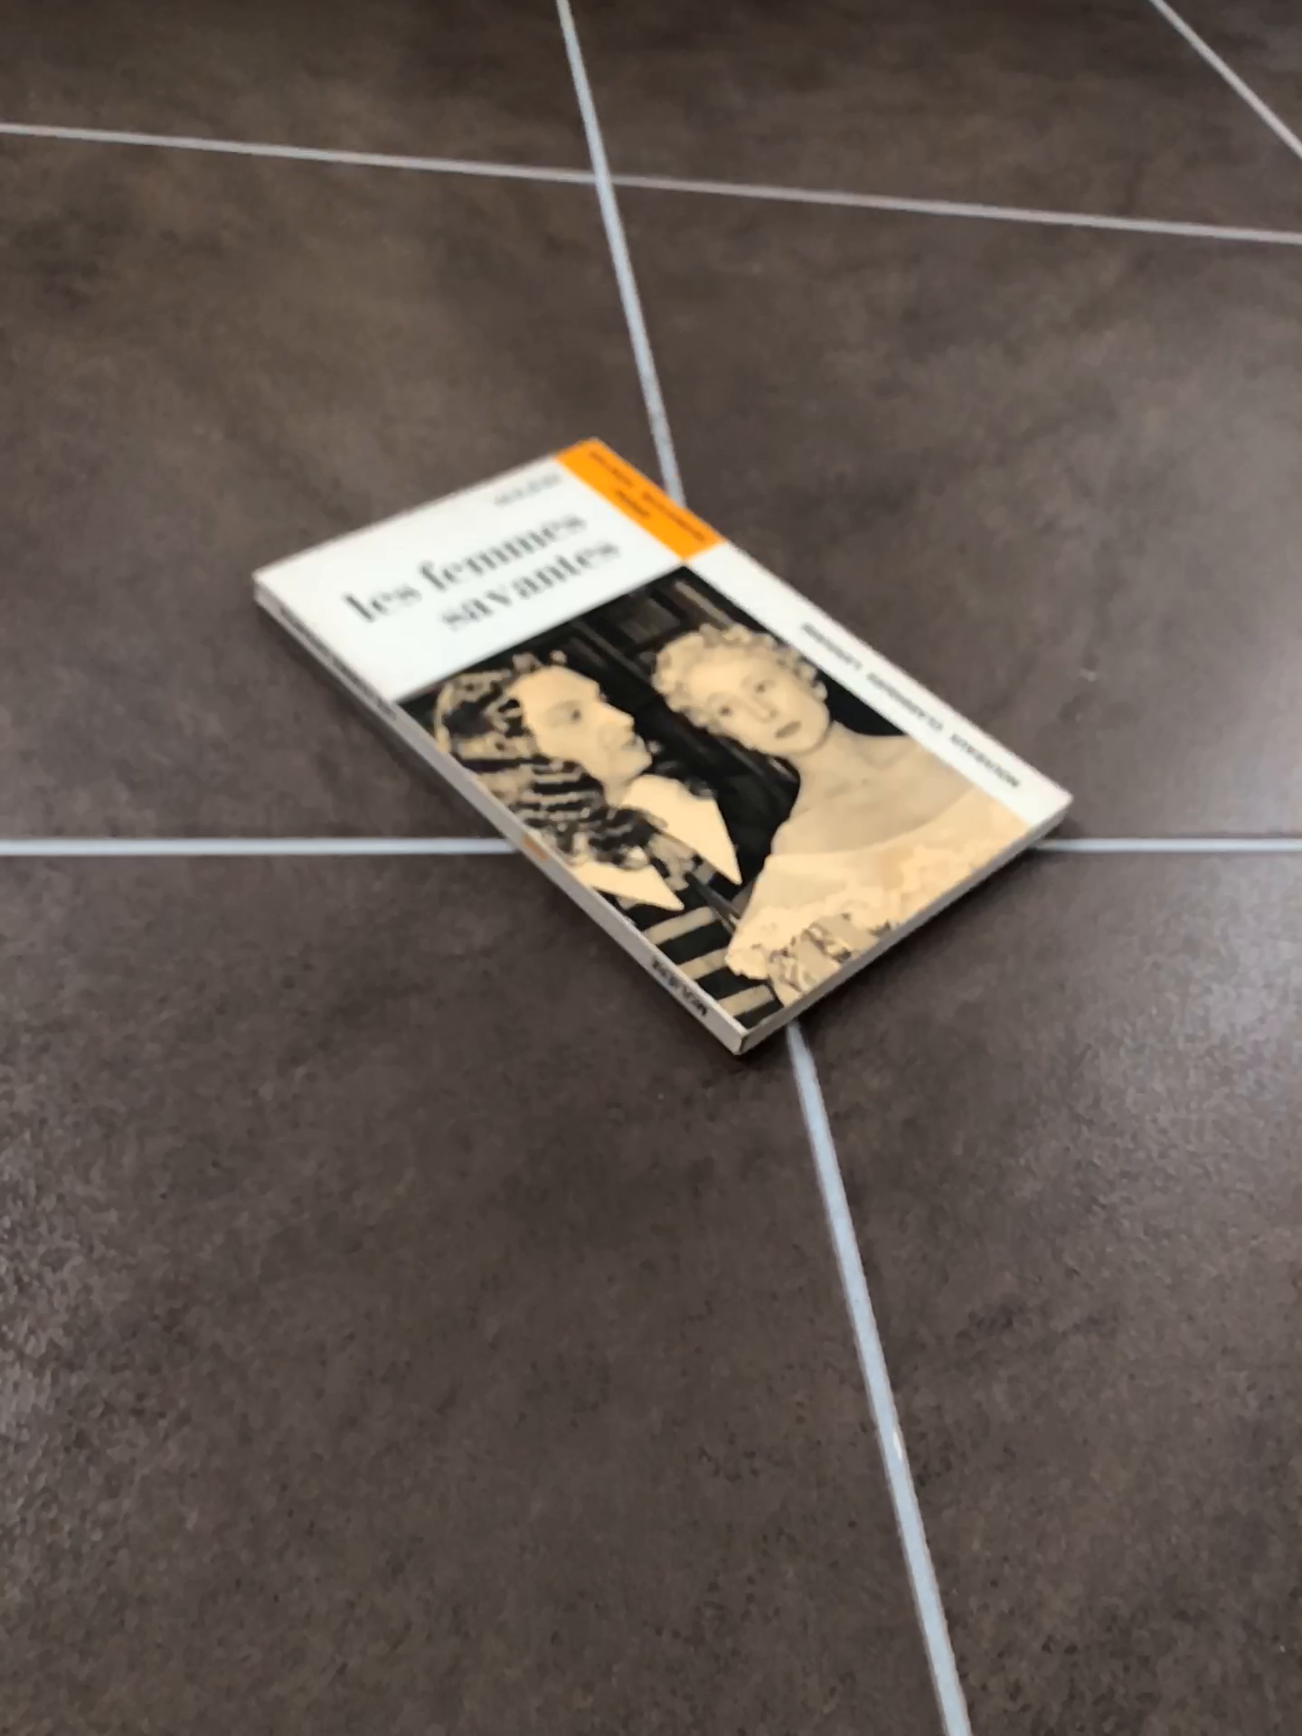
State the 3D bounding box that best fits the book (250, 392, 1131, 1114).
[{"bbox_3d":[0.007,-0.040,0.338,0.121,0.020,0.170,-31,64,-32],"label":"book"}]
